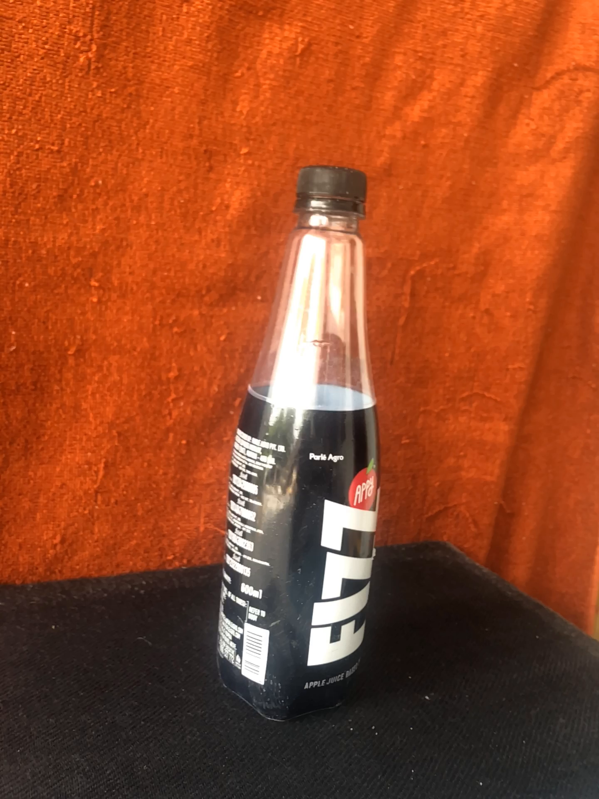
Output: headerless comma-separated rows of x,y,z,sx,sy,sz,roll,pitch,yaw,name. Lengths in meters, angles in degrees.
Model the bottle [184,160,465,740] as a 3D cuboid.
0.008,0.018,0.289,0.060,0.219,0.070,17,15,39,bottle
